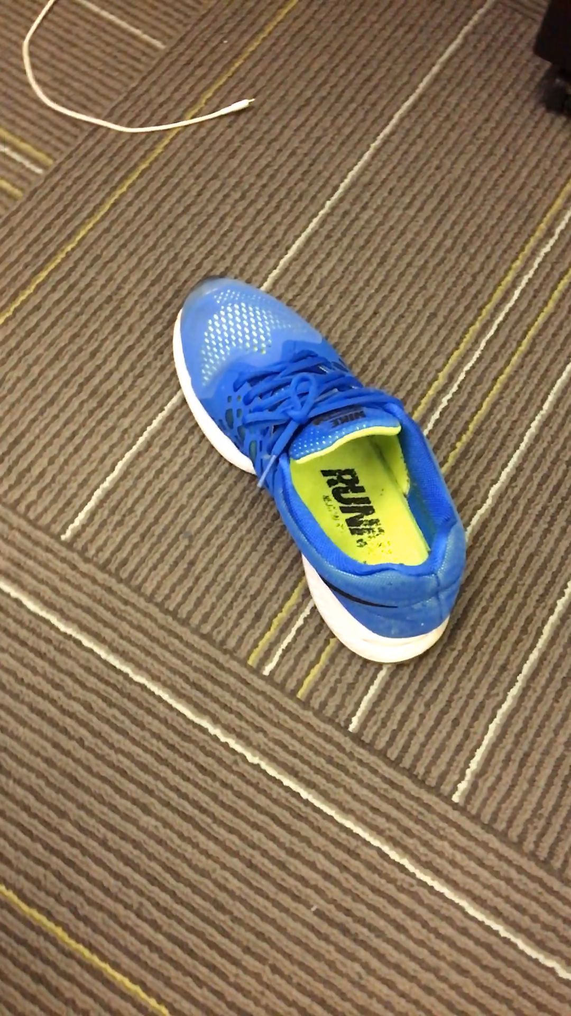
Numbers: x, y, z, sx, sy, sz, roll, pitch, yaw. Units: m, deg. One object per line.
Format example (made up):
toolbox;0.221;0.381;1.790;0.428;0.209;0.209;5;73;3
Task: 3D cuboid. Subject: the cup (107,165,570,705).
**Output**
cup;0.023;-0.048;0.531;0.130;0.100;0.300;-29;74;-13
